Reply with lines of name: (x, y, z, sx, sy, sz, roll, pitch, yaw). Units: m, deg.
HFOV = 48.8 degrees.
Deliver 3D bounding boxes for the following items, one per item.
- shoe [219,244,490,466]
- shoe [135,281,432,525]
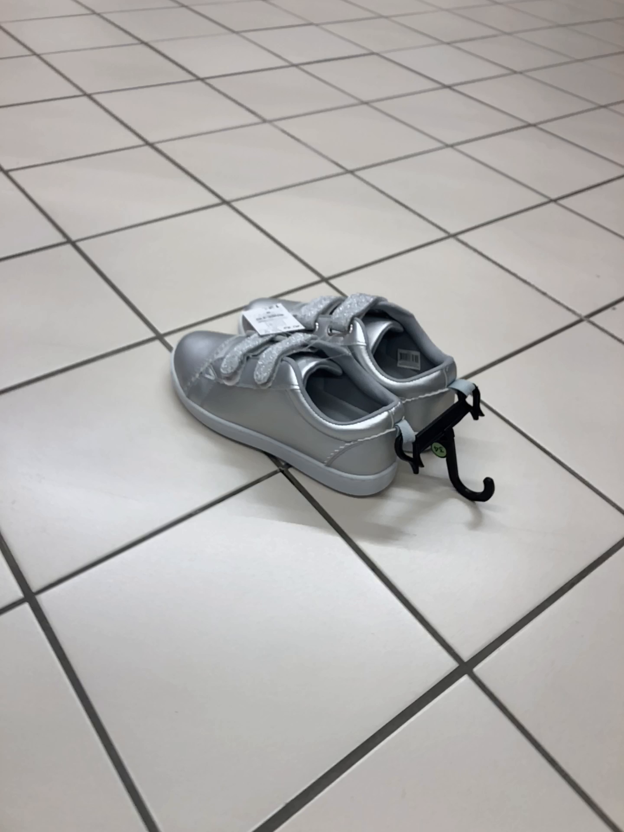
shoe: (0.031, -0.060, 0.609, 0.215, 0.085, 0.091, 27, 46, 21)
shoe: (-0.027, -0.017, 0.559, 0.215, 0.085, 0.091, 25, 46, 19)
